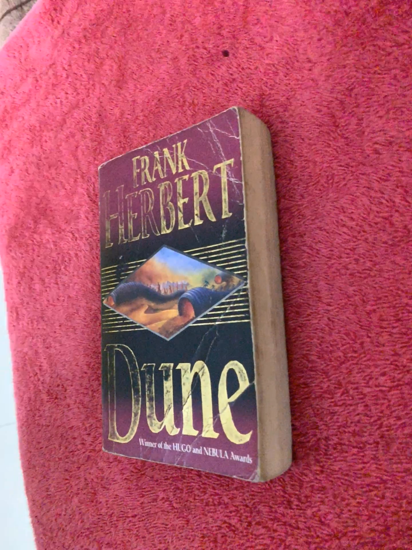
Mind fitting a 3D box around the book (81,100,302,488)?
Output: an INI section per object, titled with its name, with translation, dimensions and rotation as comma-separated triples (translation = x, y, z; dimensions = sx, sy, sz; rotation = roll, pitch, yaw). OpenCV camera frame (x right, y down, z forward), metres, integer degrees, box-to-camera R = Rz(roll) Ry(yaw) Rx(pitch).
[book]
translation = -0.016, 0.012, 0.231
dimensions = 0.114, 0.039, 0.165
rotation = -10, 78, 38
